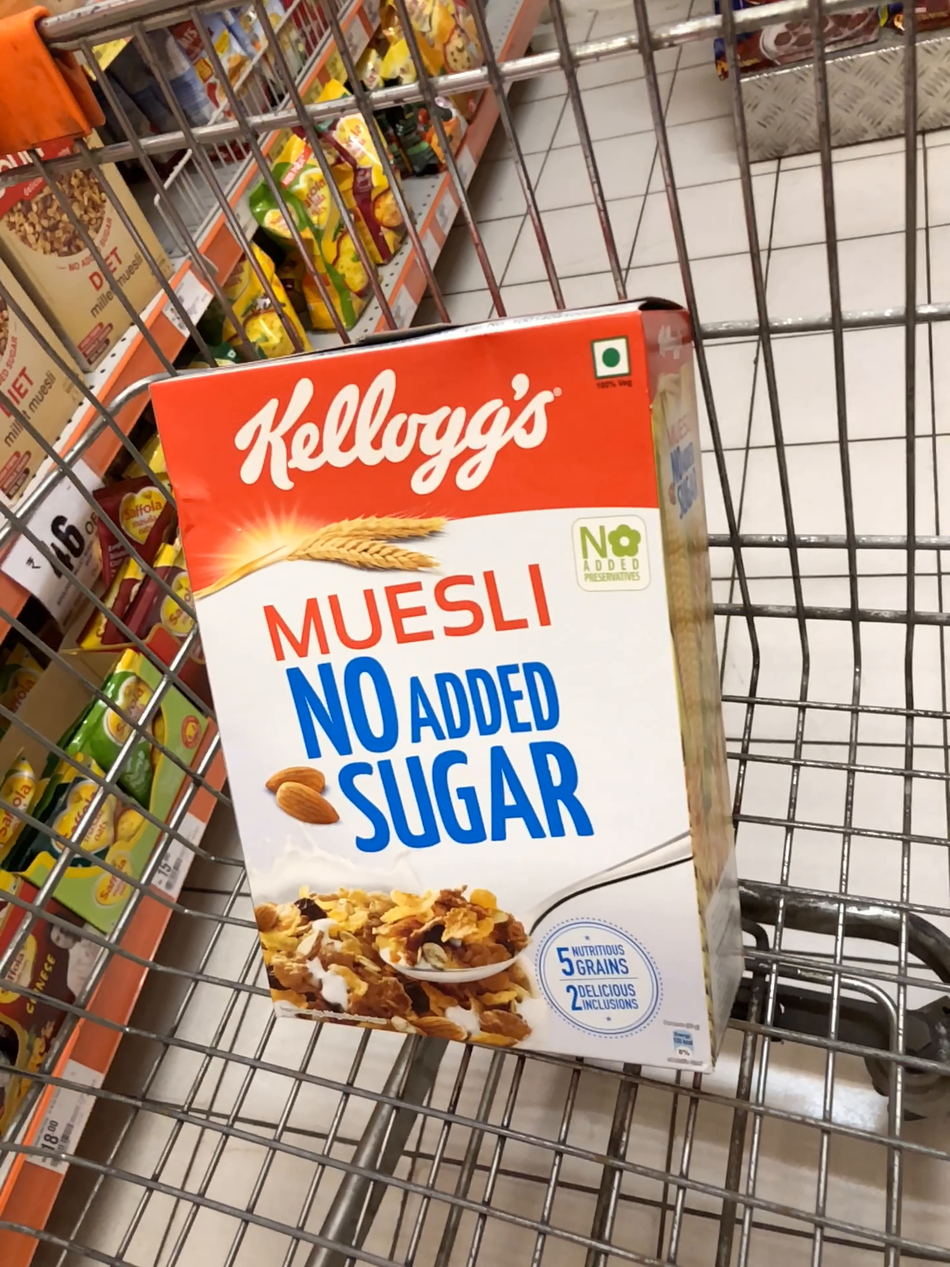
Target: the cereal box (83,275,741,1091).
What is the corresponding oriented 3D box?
[{"bbox_3d":[-0.014,0.020,0.383,0.190,0.259,0.070,-1,17,23],"label":"cereal box"}]
